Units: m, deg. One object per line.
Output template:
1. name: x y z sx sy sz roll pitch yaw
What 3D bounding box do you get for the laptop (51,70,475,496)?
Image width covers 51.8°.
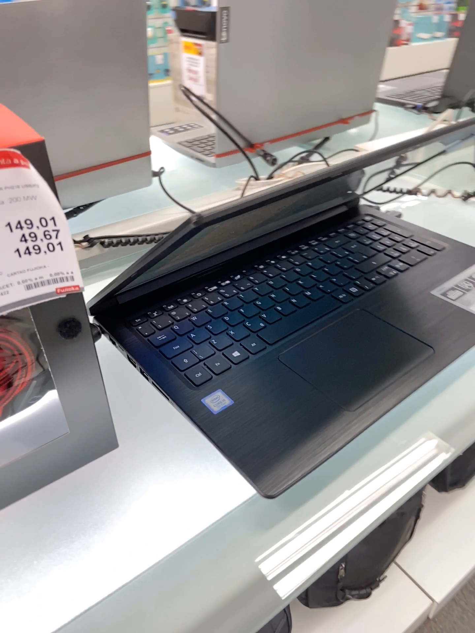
1. laptop: 0.085 -0.082 0.418 0.371 0.157 0.239 -26 43 -30
